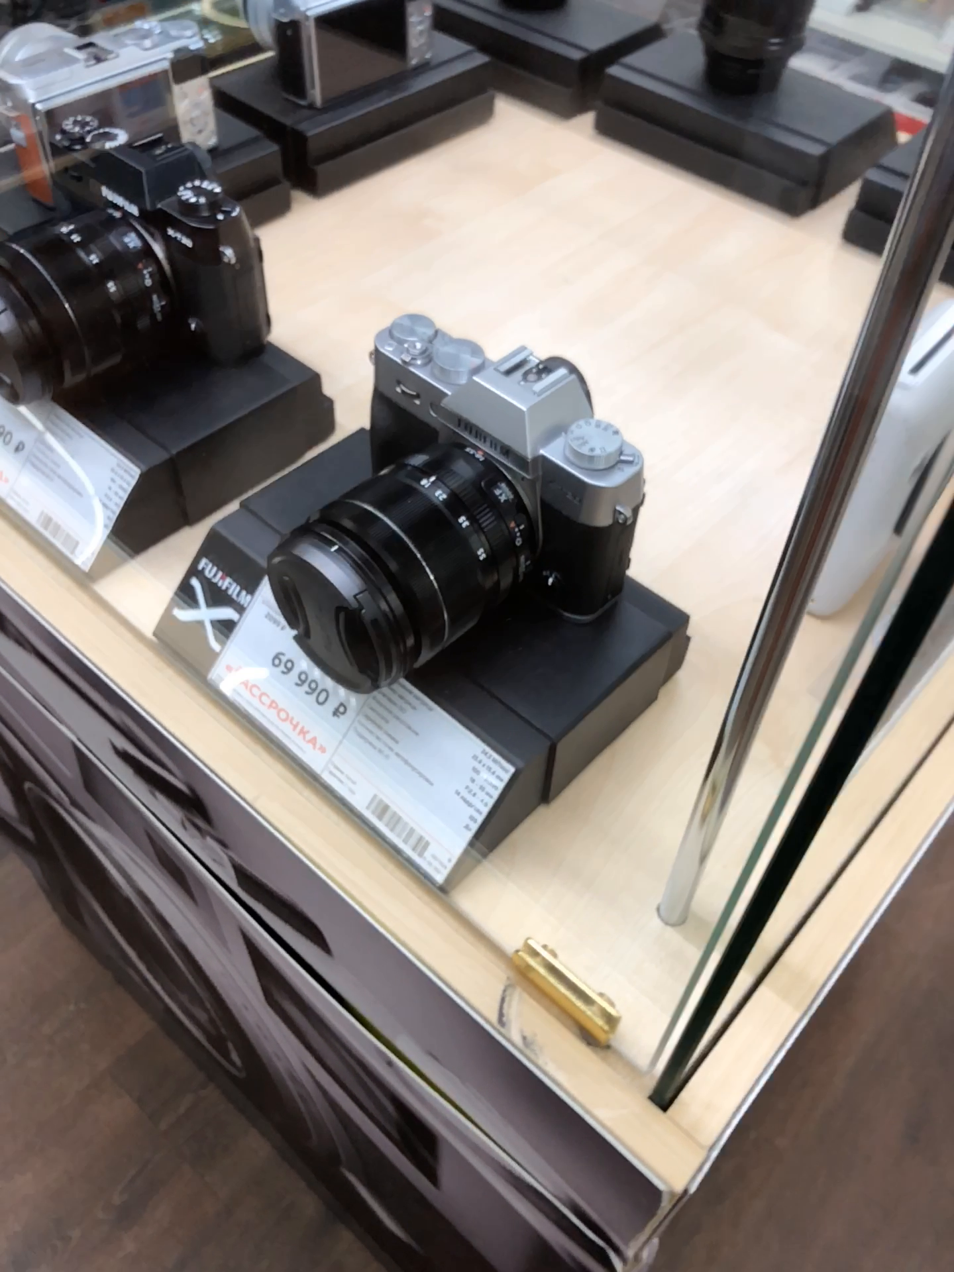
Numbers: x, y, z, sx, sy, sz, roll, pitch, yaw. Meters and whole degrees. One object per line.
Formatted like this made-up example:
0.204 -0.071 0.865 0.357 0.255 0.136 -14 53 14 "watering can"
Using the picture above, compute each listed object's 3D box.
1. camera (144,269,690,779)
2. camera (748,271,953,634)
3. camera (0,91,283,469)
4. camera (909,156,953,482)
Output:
-0.020 -0.047 0.379 0.124 0.080 0.130 38 57 25 "camera"
0.164 -0.073 0.431 0.039 0.110 0.094 34 56 23 "camera"
-0.181 -0.165 0.476 0.124 0.080 0.130 38 57 25 "camera"
0.276 -0.152 0.513 0.101 0.118 0.043 -34 60 -28 "camera"
